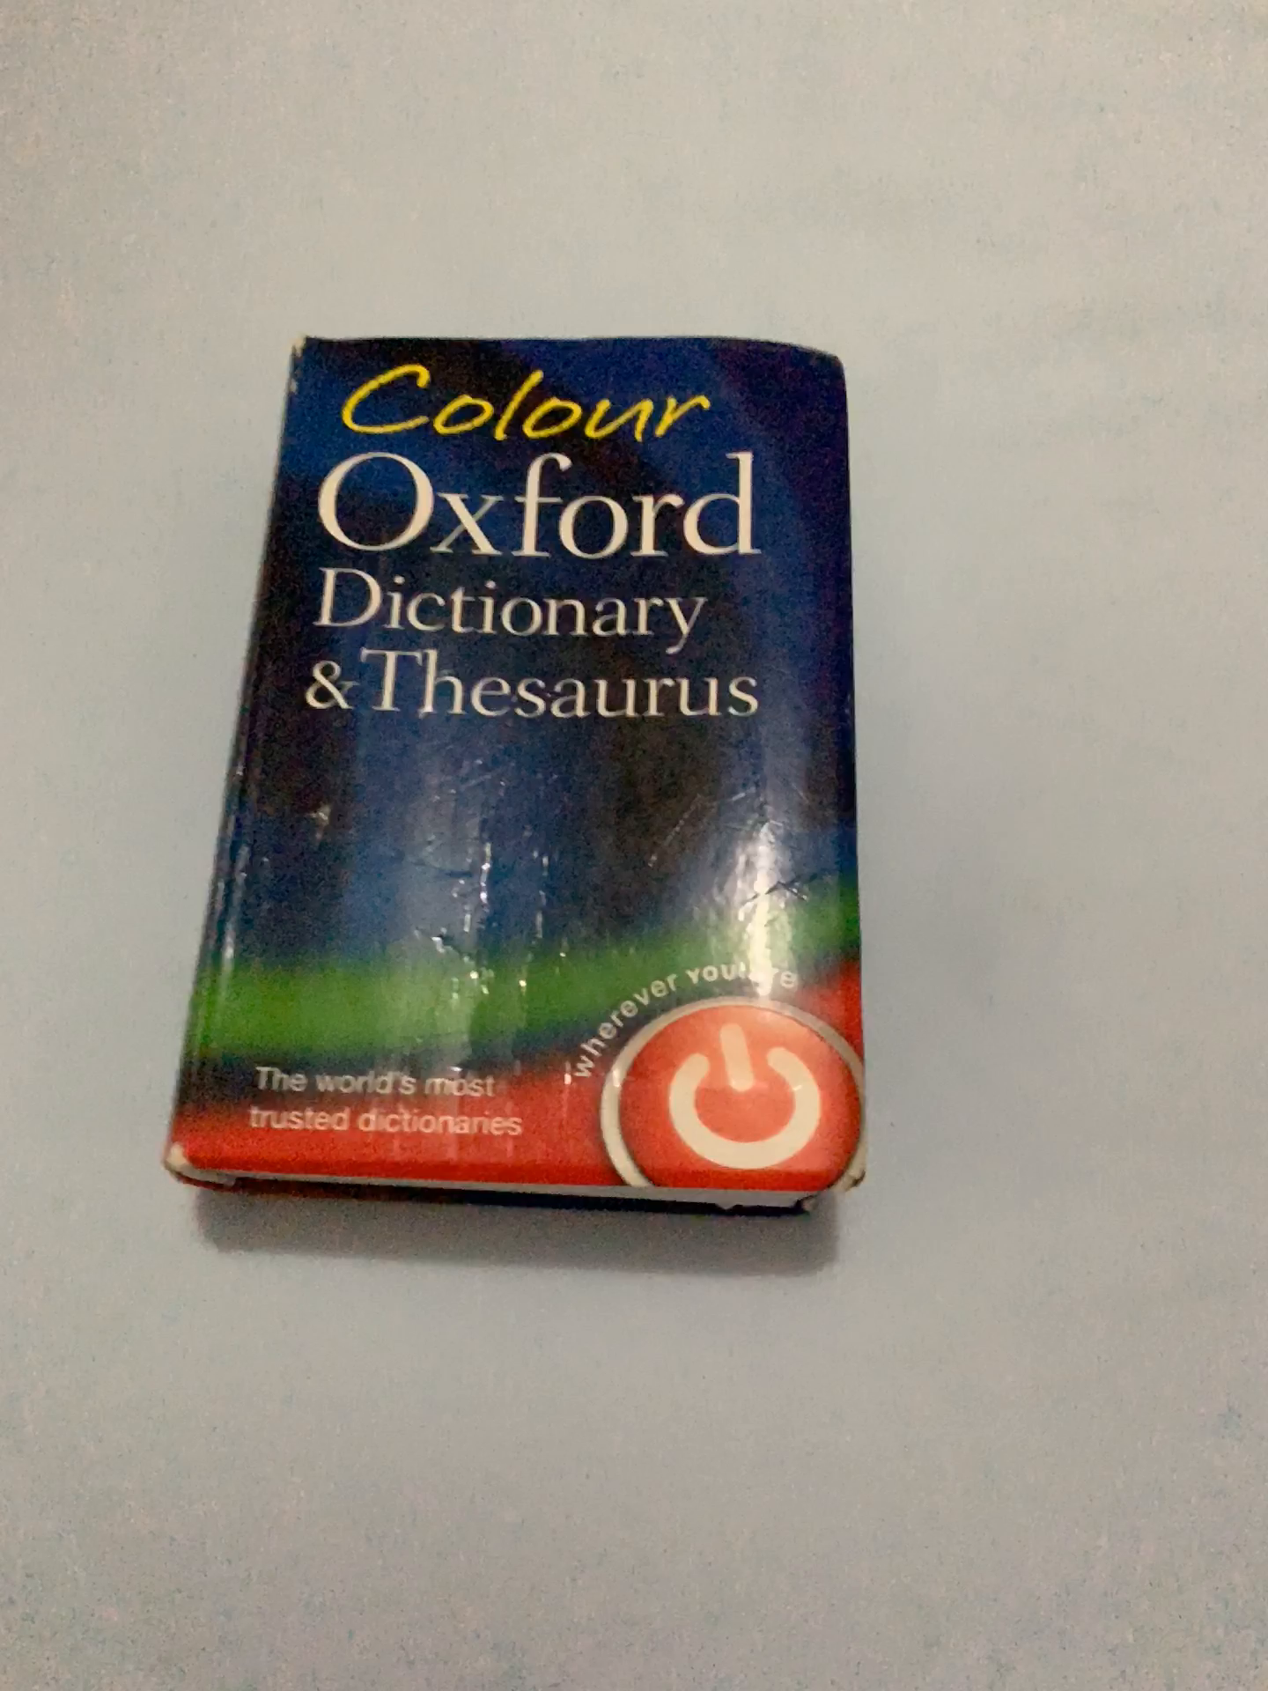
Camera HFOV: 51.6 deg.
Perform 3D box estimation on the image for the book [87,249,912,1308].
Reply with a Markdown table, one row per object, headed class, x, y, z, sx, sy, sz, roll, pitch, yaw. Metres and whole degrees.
| class | x | y | z | sx | sy | sz | roll | pitch | yaw |
| --- | --- | --- | --- | --- | --- | --- | --- | --- | --- |
| book | -0.015 | -0.016 | 0.234 | 0.120 | 0.040 | 0.181 | 0 | 71 | 7 |
